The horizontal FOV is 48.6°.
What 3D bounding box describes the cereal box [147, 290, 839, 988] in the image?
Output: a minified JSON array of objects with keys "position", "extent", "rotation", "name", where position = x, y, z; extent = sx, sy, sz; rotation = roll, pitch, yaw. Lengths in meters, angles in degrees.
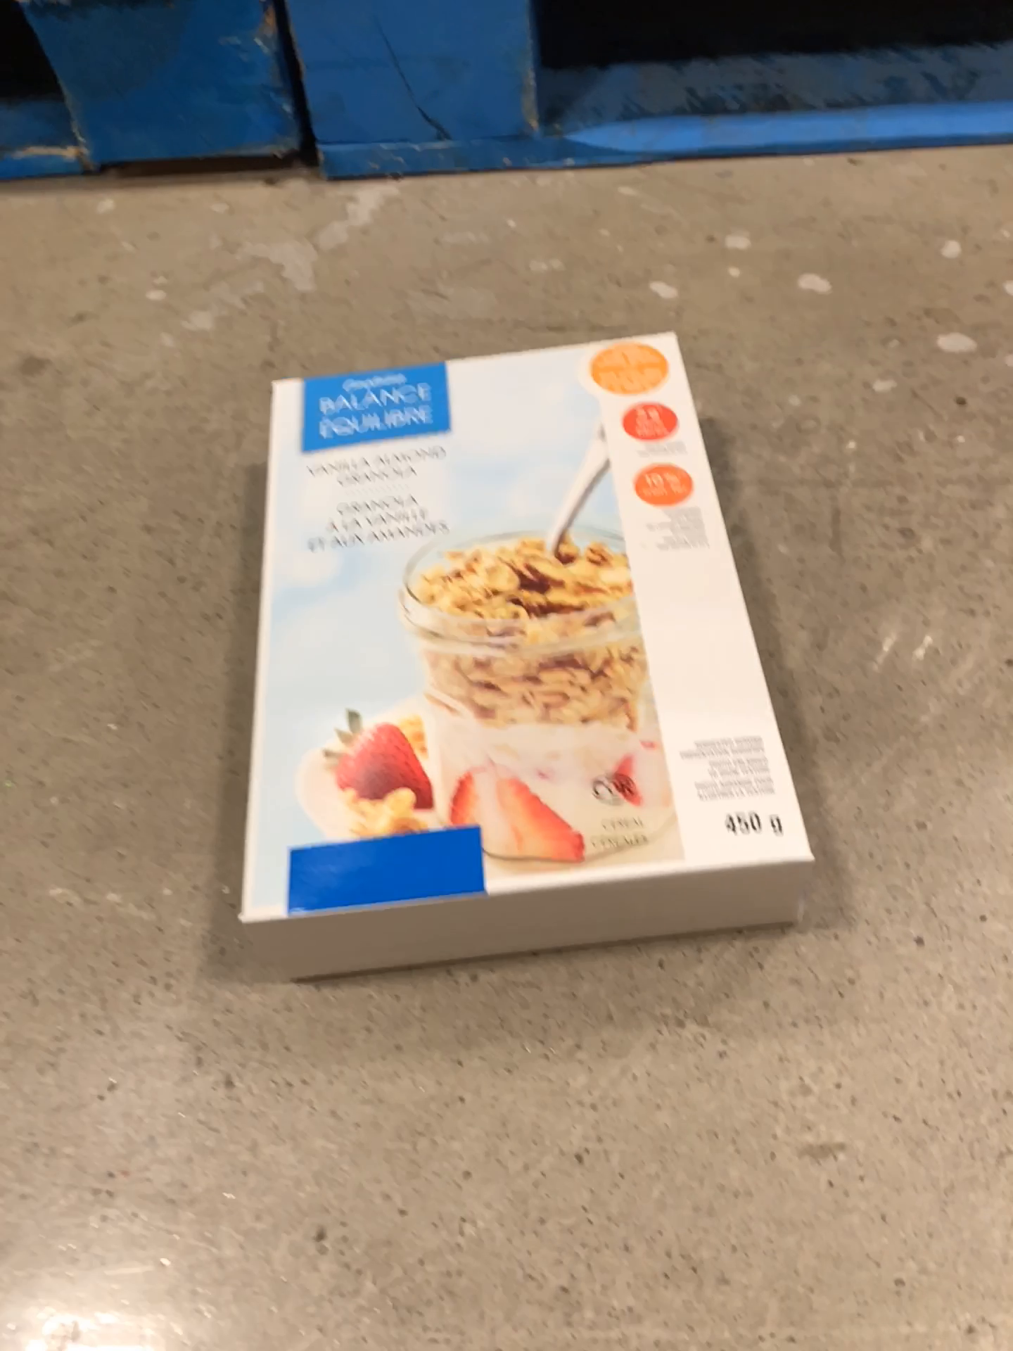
[{"position":[-0.013,-0.027,0.394],"extent":[0.190,0.050,0.241],"rotation":[-7,56,1],"name":"cereal box"}]
